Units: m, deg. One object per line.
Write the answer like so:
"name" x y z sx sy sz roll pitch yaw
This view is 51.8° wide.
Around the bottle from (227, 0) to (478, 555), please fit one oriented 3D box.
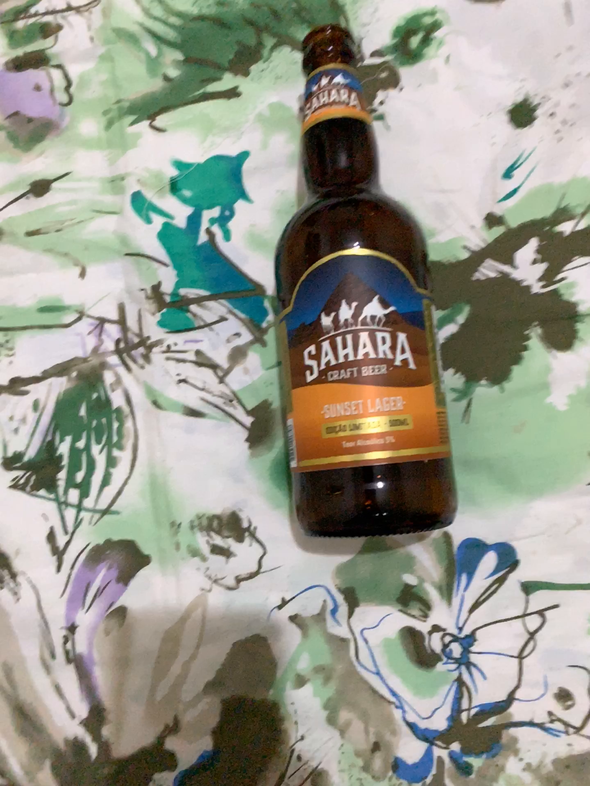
"bottle" 0.024 -0.059 0.290 0.080 0.070 0.250 -6 83 4
